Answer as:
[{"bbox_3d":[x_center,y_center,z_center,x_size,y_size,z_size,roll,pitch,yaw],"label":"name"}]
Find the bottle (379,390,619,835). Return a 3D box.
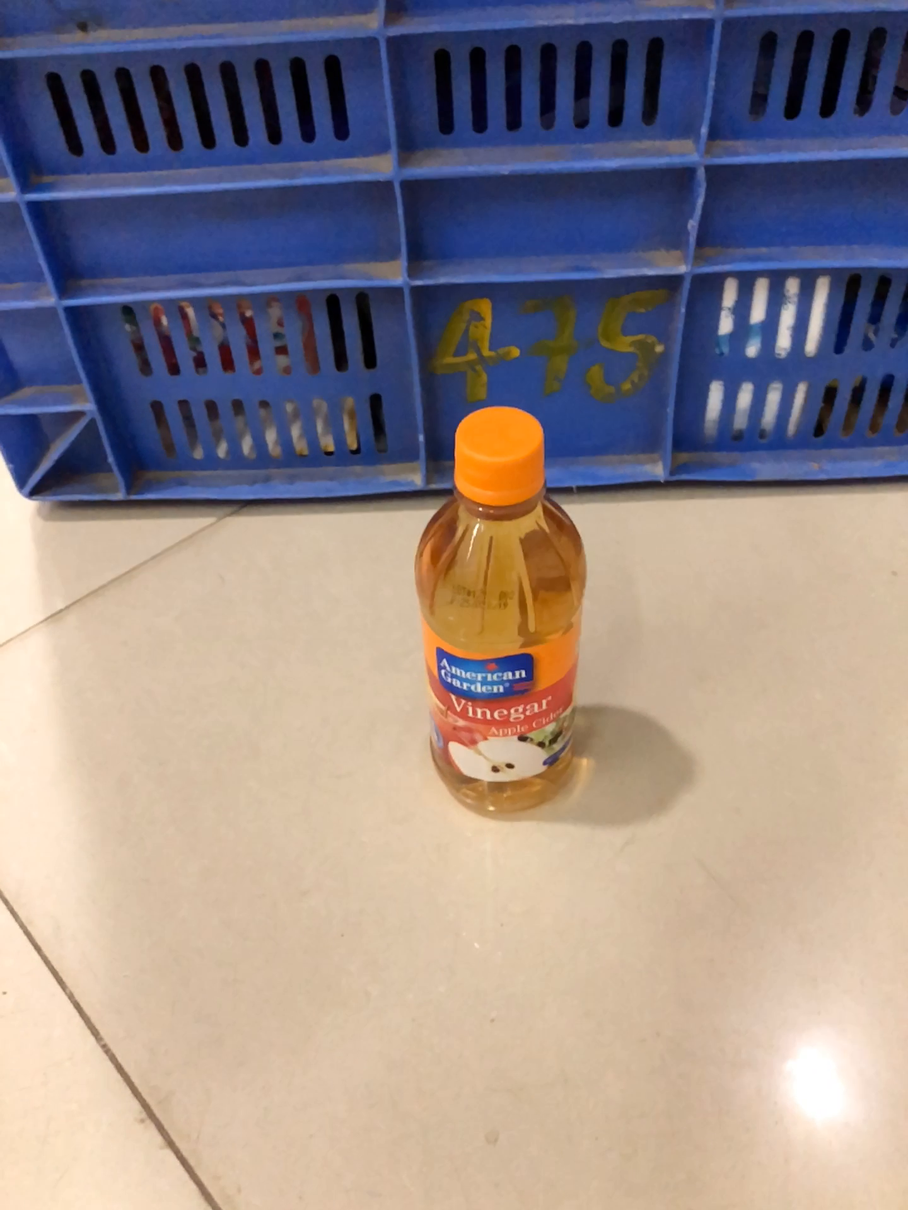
[{"bbox_3d":[0.023,0.009,0.394,0.070,0.169,0.070,-3,44,3],"label":"bottle"}]
